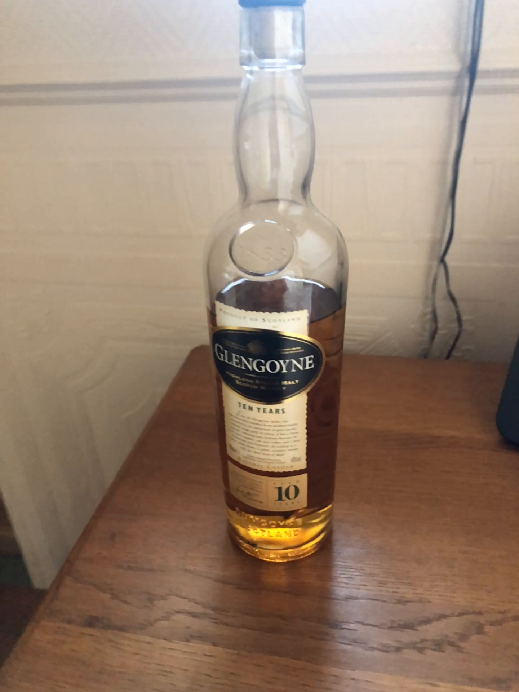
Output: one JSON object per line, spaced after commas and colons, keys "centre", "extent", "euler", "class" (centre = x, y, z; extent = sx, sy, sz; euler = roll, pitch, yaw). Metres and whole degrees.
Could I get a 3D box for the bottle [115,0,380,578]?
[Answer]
{"centre": [0.009, -0.023, 0.315], "extent": [0.090, 0.318, 0.081], "euler": [5, 30, 15], "class": "bottle"}
